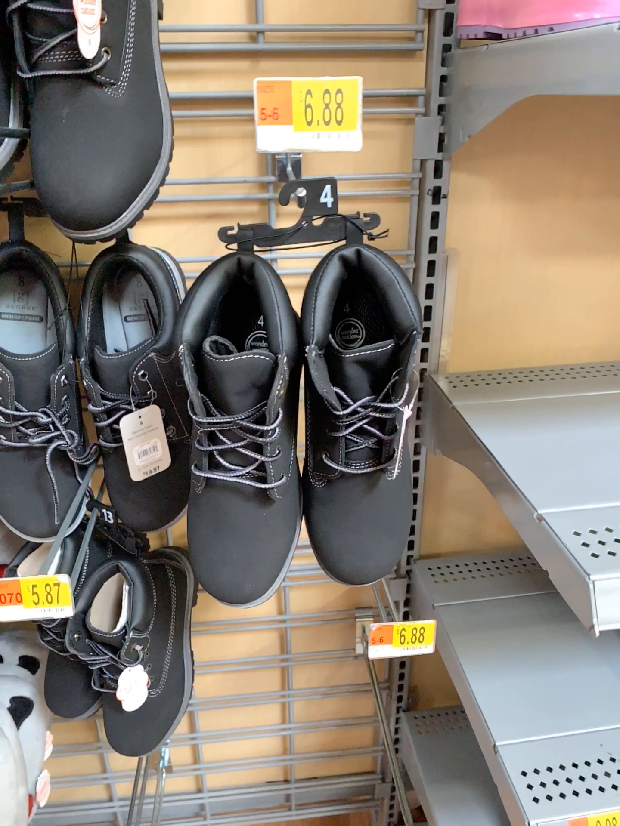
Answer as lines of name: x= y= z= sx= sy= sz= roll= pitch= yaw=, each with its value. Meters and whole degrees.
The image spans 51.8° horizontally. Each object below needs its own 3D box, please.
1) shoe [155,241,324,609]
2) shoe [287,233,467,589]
shoe: x=-0.045 y=0.003 z=0.450 sx=0.100 sy=0.229 sz=0.110 roll=-1 pitch=8 yaw=-3
shoe: x=0.039 y=-0.007 z=0.432 sx=0.100 sy=0.206 sz=0.120 roll=-2 pitch=8 yaw=-3
